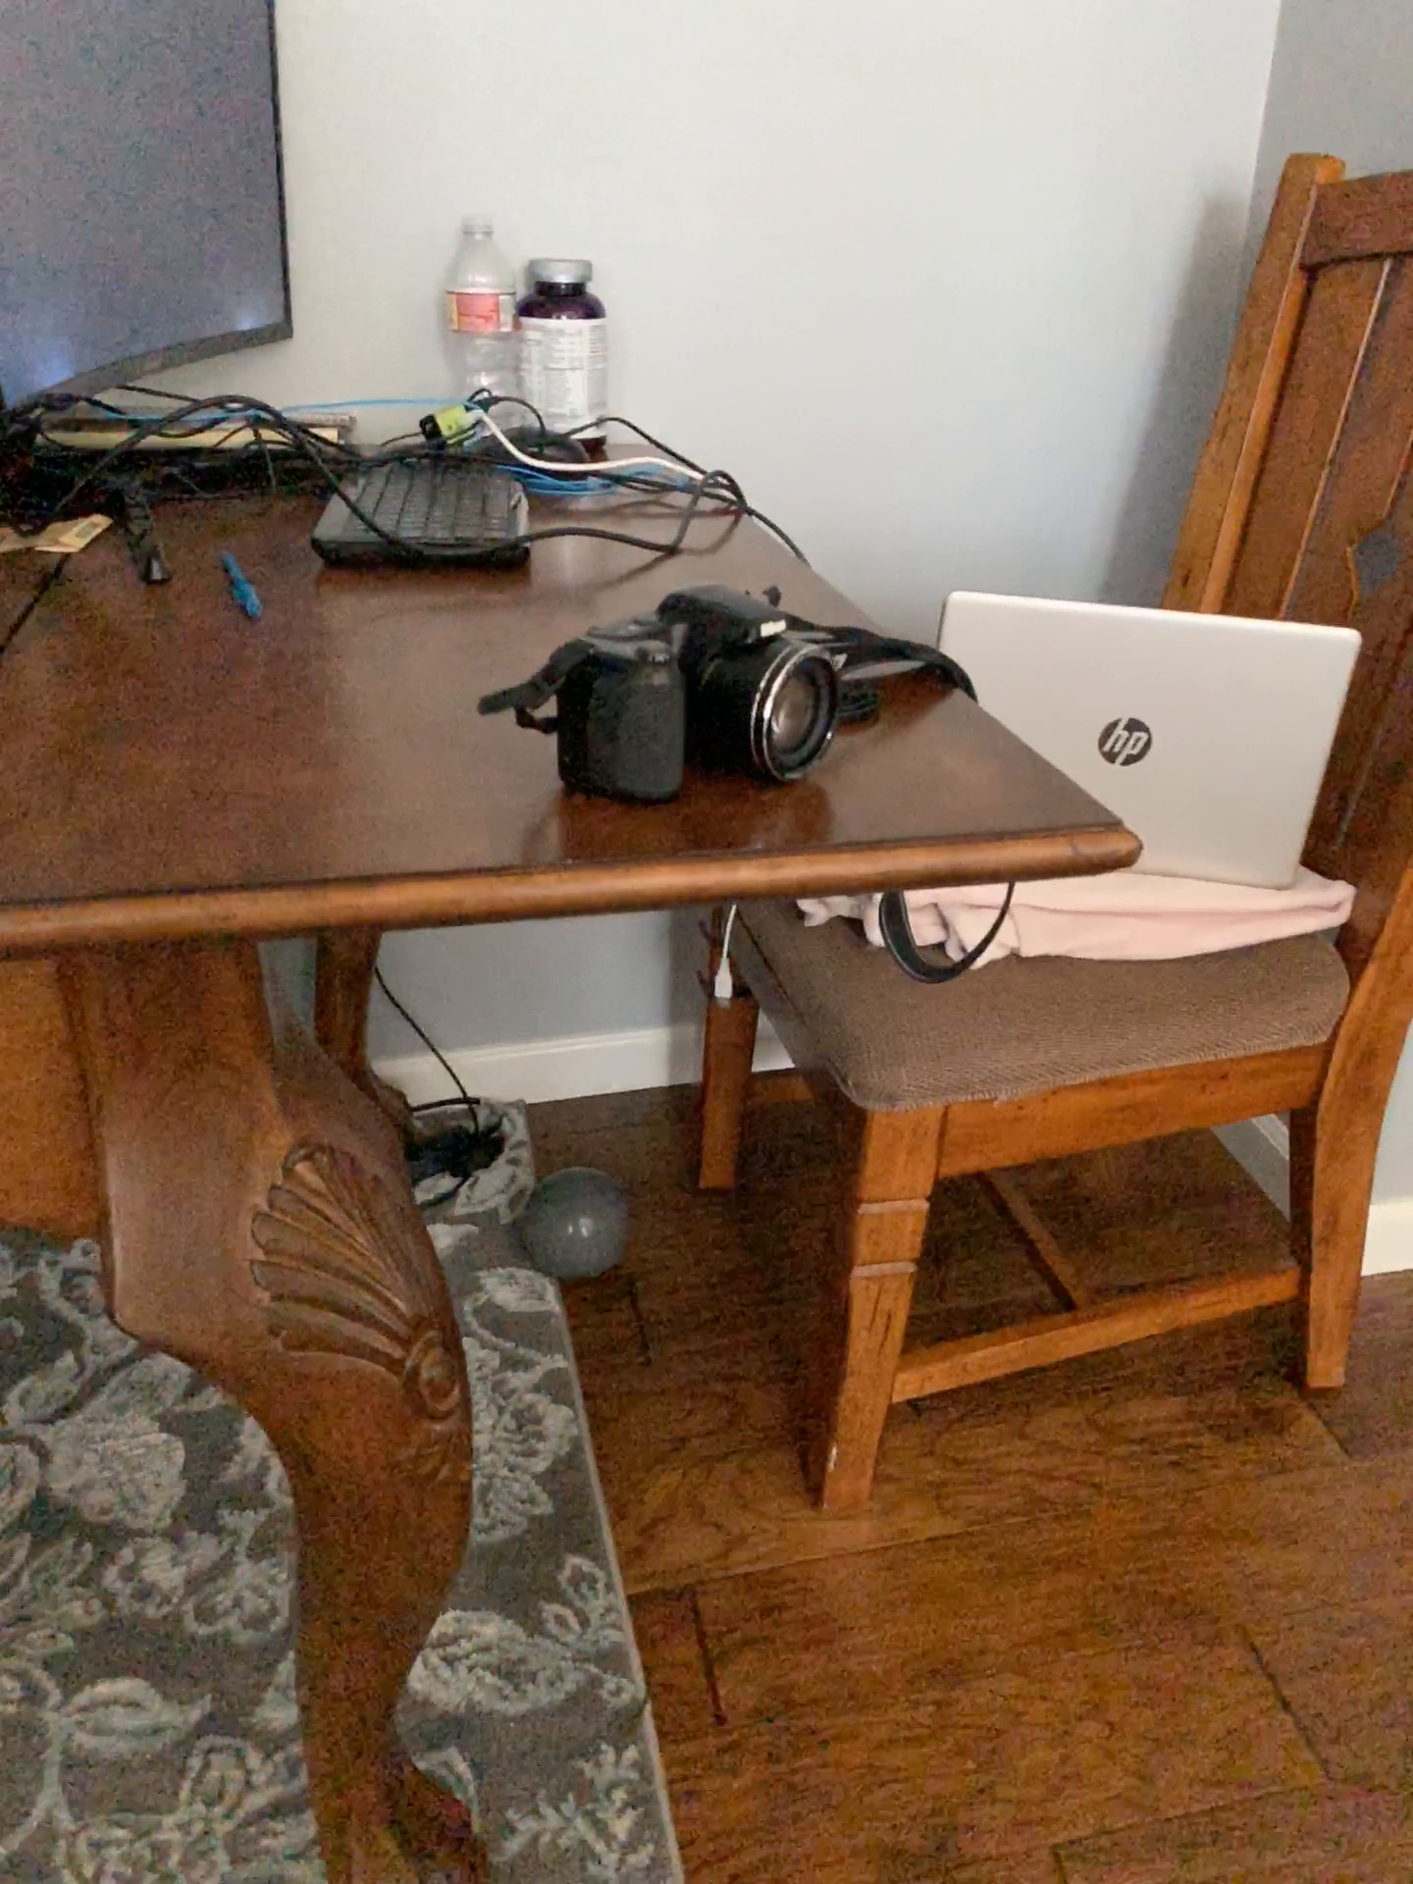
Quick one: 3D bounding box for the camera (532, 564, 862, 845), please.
[{"bbox_3d":[-0.003,-0.108,0.628,0.090,0.079,0.111,21,34,34],"label":"camera"}]
